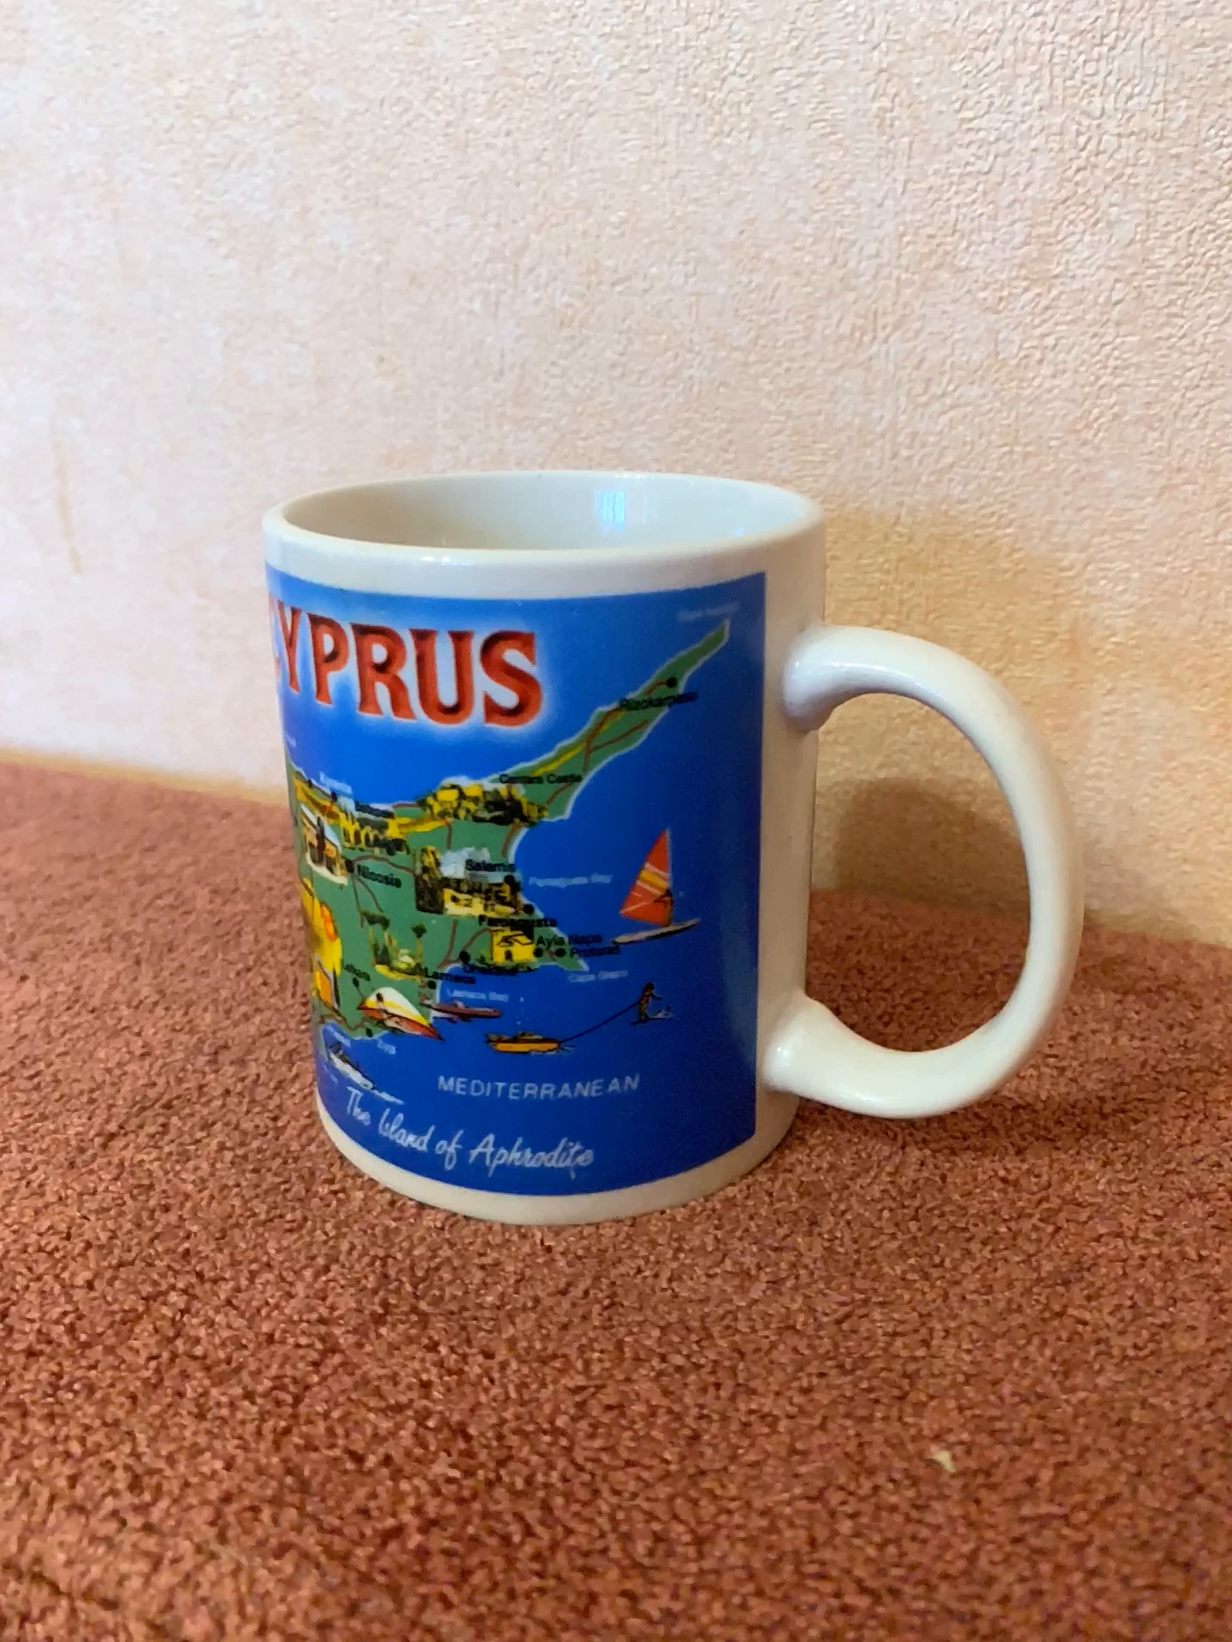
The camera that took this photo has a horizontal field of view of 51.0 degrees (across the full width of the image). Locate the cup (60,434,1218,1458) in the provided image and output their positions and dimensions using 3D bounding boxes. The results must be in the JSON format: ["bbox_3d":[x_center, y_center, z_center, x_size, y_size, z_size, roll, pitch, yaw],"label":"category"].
[{"bbox_3d":[0.009,0.000,0.177,0.119,0.091,0.085,9,26,26],"label":"cup"}]
